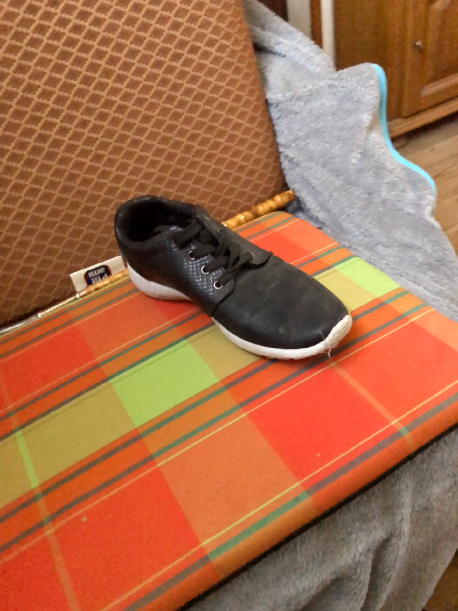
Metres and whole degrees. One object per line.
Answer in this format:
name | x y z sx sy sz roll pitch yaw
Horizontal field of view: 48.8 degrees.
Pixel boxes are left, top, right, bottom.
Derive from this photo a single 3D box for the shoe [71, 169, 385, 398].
shoe | -0.008 -0.037 0.463 0.267 0.080 0.110 24 55 33
